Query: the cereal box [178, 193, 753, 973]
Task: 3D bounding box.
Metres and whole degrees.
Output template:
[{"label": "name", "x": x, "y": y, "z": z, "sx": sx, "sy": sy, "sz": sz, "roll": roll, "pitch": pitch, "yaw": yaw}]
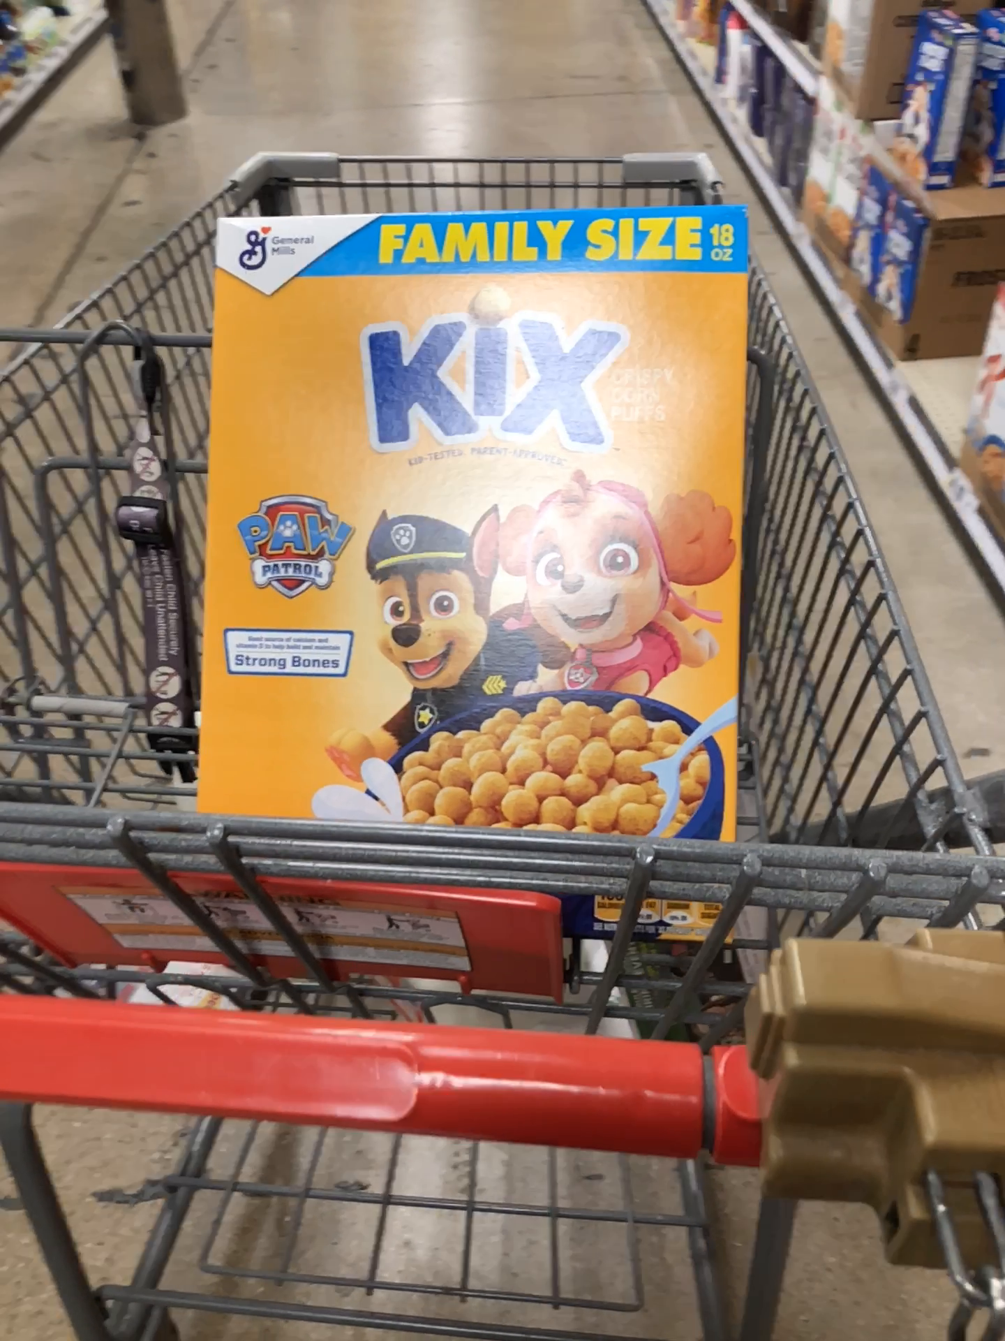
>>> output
[{"label": "cereal box", "x": -0.015, "y": -0.041, "z": 0.534, "sx": 0.250, "sy": 0.330, "sz": 0.090, "roll": 2, "pitch": 0, "yaw": 10}]
